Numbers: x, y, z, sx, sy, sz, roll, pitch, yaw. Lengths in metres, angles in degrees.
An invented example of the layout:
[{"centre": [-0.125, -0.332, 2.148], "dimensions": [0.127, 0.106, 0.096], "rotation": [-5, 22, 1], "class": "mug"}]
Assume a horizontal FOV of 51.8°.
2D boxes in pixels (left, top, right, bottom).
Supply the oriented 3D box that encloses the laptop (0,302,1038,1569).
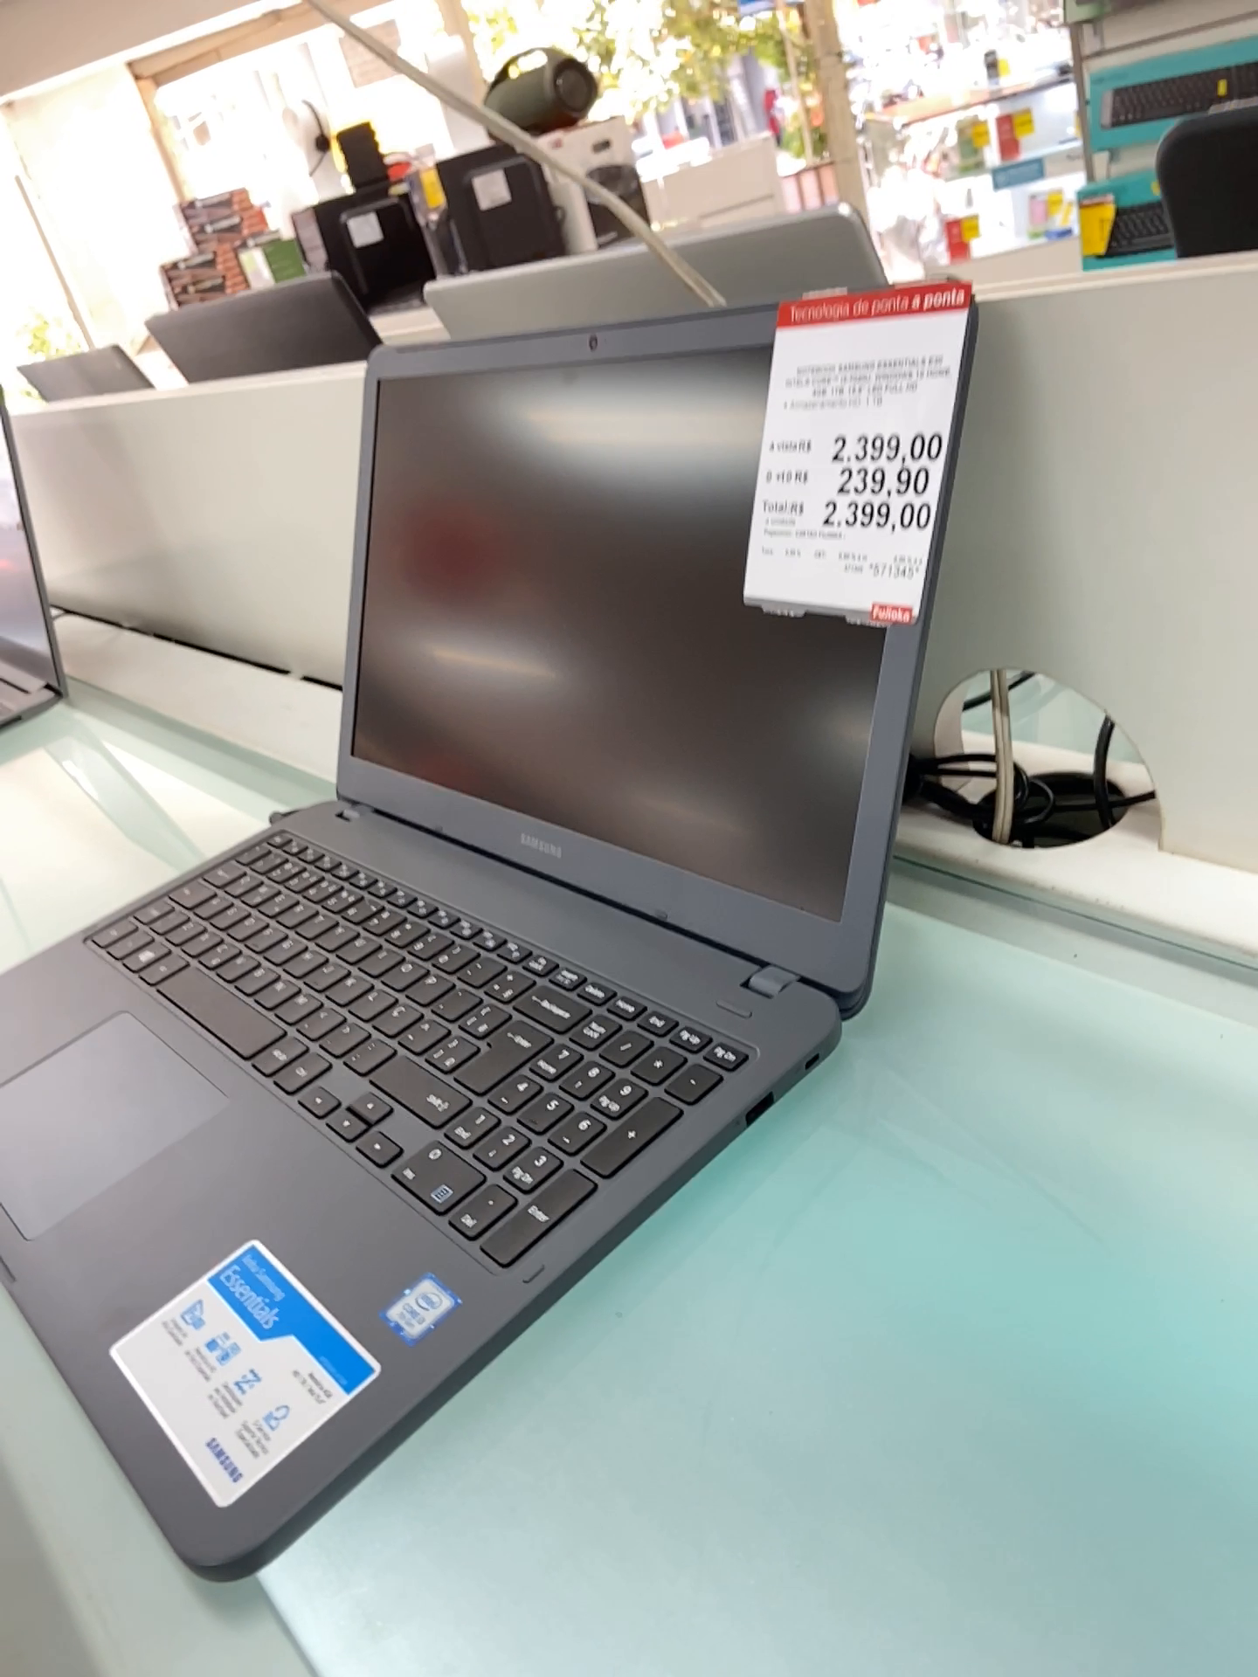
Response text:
[{"centre": [-0.116, -0.034, 0.483], "dimensions": [0.352, 0.197, 0.361], "rotation": [-34, 32, -30], "class": "laptop"}]
